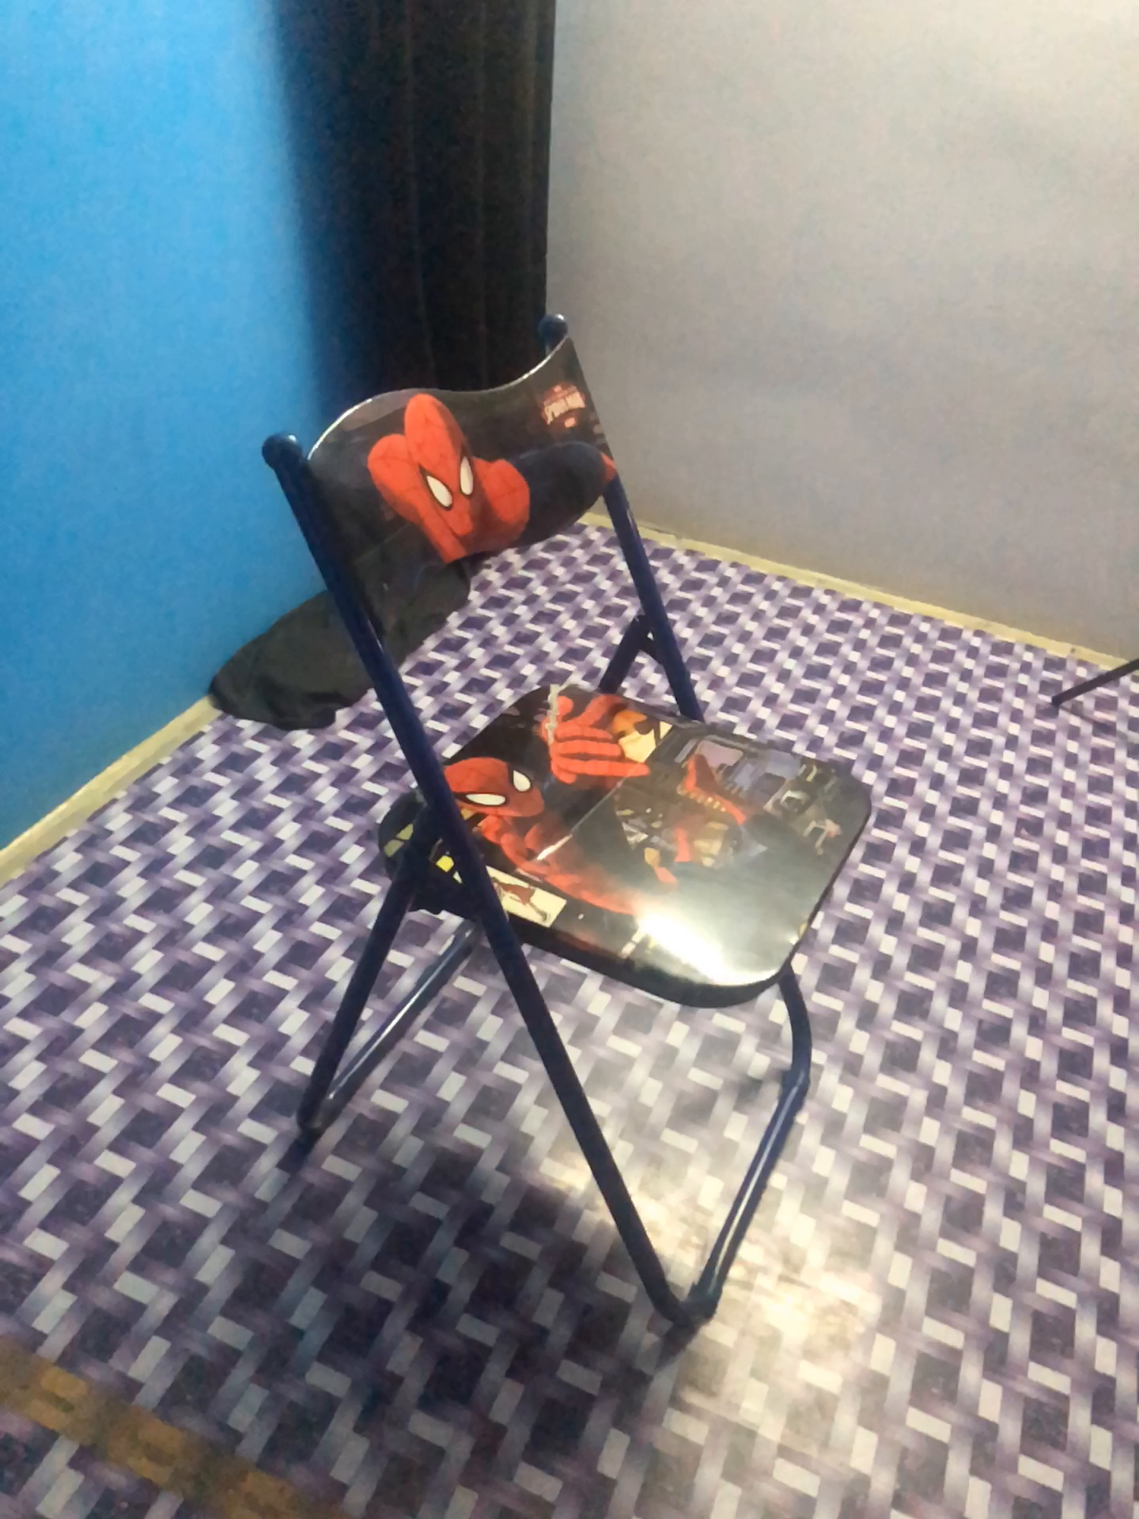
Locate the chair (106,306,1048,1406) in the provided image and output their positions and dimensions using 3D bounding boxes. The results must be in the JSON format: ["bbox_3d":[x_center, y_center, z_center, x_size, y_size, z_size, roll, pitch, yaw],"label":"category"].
[{"bbox_3d":[0.014,0.045,1.129,0.560,0.686,0.513,19,35,17],"label":"chair"}]
